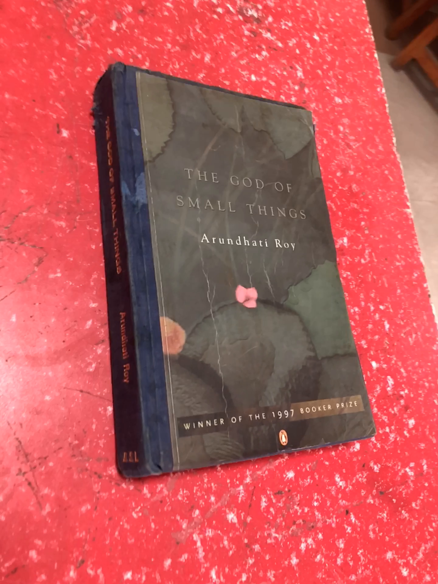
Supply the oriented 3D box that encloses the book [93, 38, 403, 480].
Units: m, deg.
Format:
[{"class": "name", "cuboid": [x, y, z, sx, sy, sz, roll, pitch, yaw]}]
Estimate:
[{"class": "book", "cuboid": [0.013, -0.021, 0.279, 0.150, 0.040, 0.220, 2, 72, -27]}]
